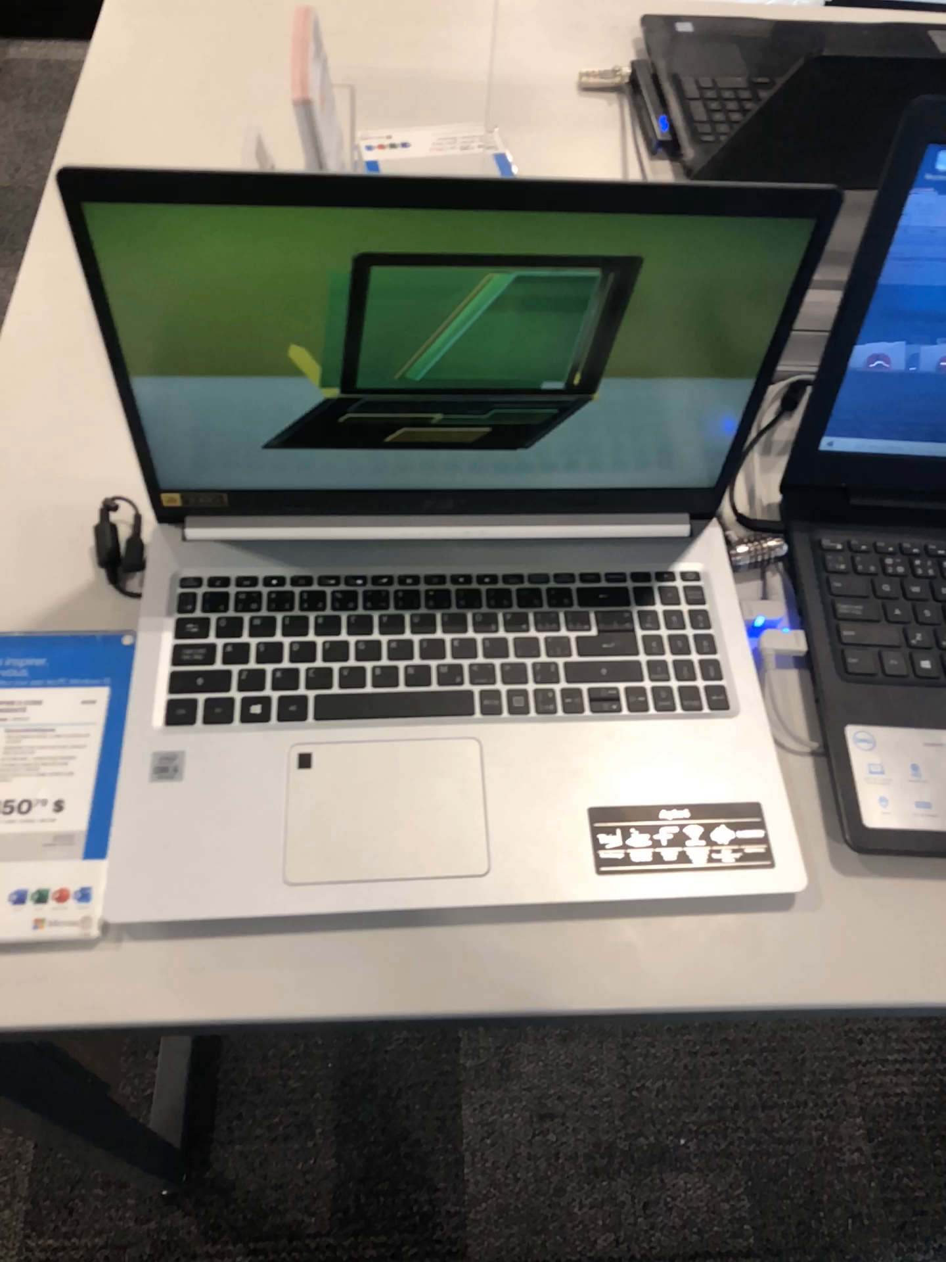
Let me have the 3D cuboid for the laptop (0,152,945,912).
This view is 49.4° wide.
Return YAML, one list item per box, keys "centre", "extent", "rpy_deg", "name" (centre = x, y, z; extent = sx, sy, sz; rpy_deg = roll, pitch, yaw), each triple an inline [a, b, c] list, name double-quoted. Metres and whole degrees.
- centre: [-0.008, -0.040, 0.498]
  extent: [0.349, 0.229, 0.267]
  rpy_deg: [-1, 58, -4]
  name: "laptop"
